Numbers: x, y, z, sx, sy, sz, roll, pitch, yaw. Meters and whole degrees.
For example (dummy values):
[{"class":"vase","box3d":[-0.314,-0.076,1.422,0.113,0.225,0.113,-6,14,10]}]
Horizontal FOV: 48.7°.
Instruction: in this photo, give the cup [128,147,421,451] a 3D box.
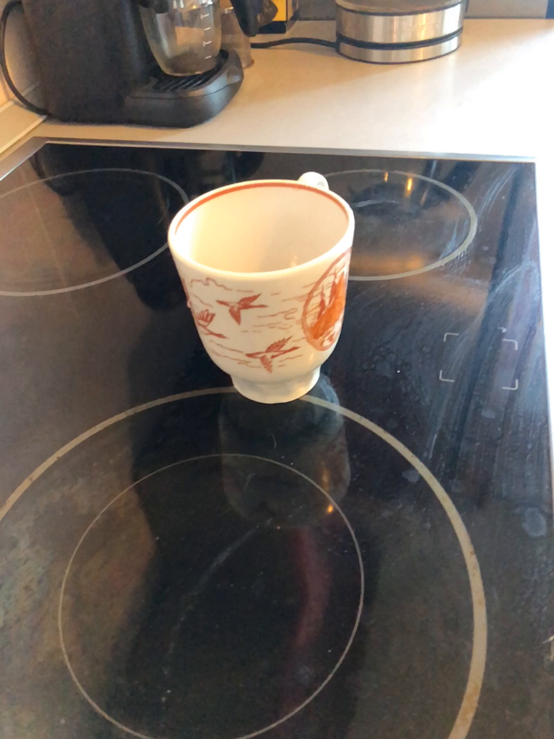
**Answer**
[{"class":"cup","box3d":[0.006,-0.044,0.325,0.090,0.090,0.120,21,49,26]}]
